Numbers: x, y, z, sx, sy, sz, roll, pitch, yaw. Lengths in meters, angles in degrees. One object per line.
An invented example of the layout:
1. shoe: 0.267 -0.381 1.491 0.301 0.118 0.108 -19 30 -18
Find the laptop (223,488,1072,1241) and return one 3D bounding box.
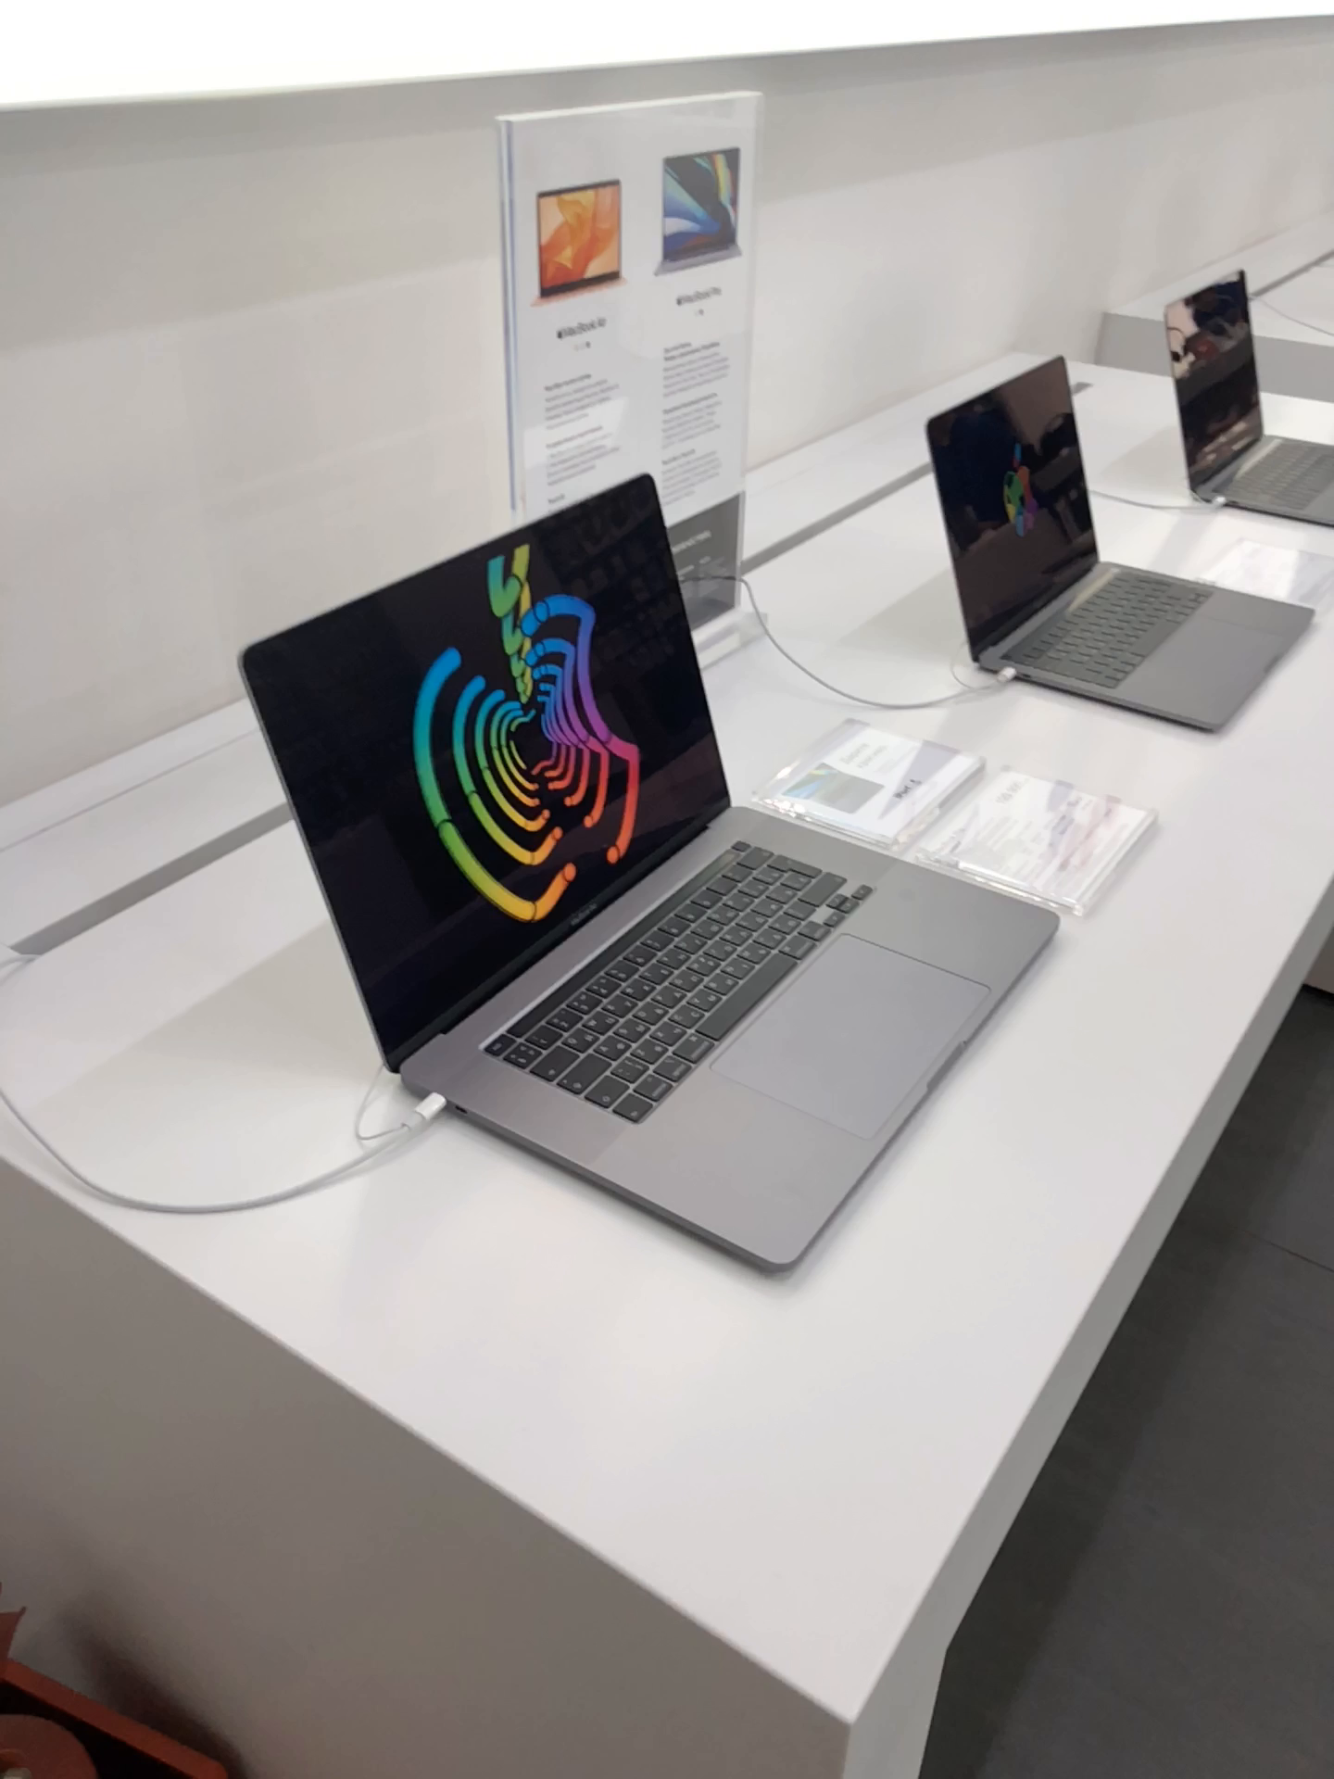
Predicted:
1. laptop: 0.002 -0.048 0.810 0.310 0.209 0.329 21 37 26
